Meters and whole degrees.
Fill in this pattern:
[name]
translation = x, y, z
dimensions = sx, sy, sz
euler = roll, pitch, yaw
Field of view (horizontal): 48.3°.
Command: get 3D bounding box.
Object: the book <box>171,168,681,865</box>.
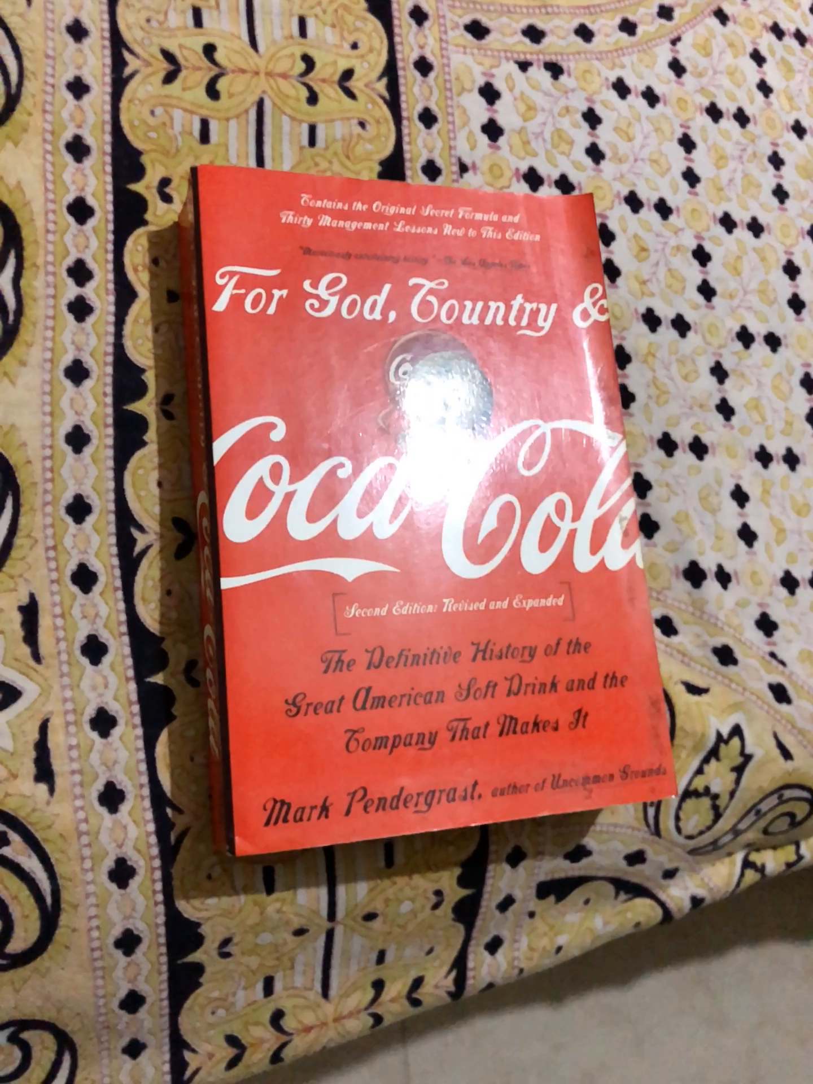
[book]
translation = 0.002, -0.014, 0.338
dimensions = 0.160, 0.050, 0.230
euler = -2, 79, -18
